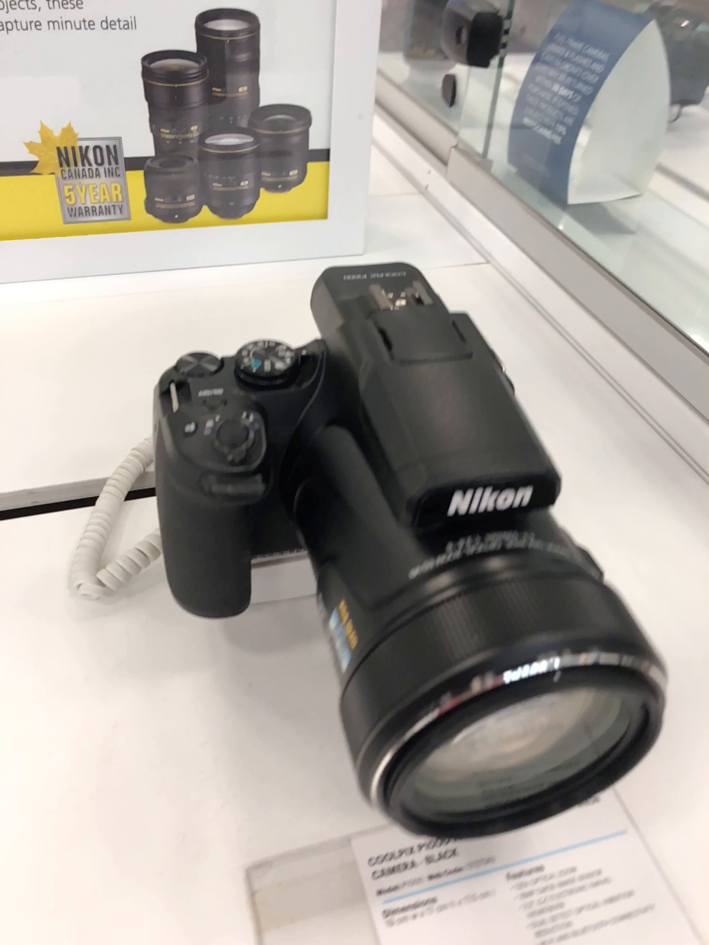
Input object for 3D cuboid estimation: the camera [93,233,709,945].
[{"bbox_3d":[0.012,0.019,0.256,0.160,0.110,0.190,-9,42,-15],"label":"camera"}]
